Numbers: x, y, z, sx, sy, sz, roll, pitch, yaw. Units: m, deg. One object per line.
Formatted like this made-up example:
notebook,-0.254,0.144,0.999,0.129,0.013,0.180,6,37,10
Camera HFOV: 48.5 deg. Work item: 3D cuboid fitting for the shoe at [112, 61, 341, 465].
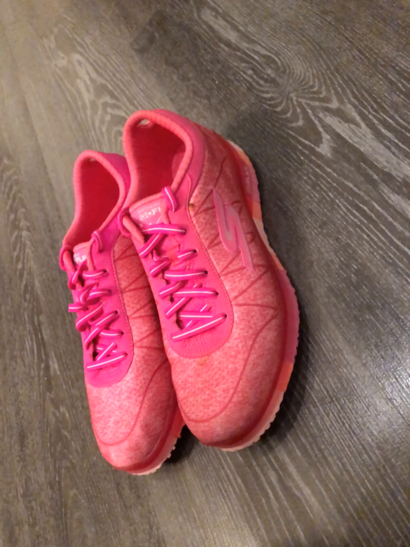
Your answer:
shoe,0.002,-0.009,0.330,0.100,0.090,0.261,-24,58,30

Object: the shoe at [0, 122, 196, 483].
shoe,-0.078,0.024,0.370,0.100,0.090,0.261,-19,60,32
